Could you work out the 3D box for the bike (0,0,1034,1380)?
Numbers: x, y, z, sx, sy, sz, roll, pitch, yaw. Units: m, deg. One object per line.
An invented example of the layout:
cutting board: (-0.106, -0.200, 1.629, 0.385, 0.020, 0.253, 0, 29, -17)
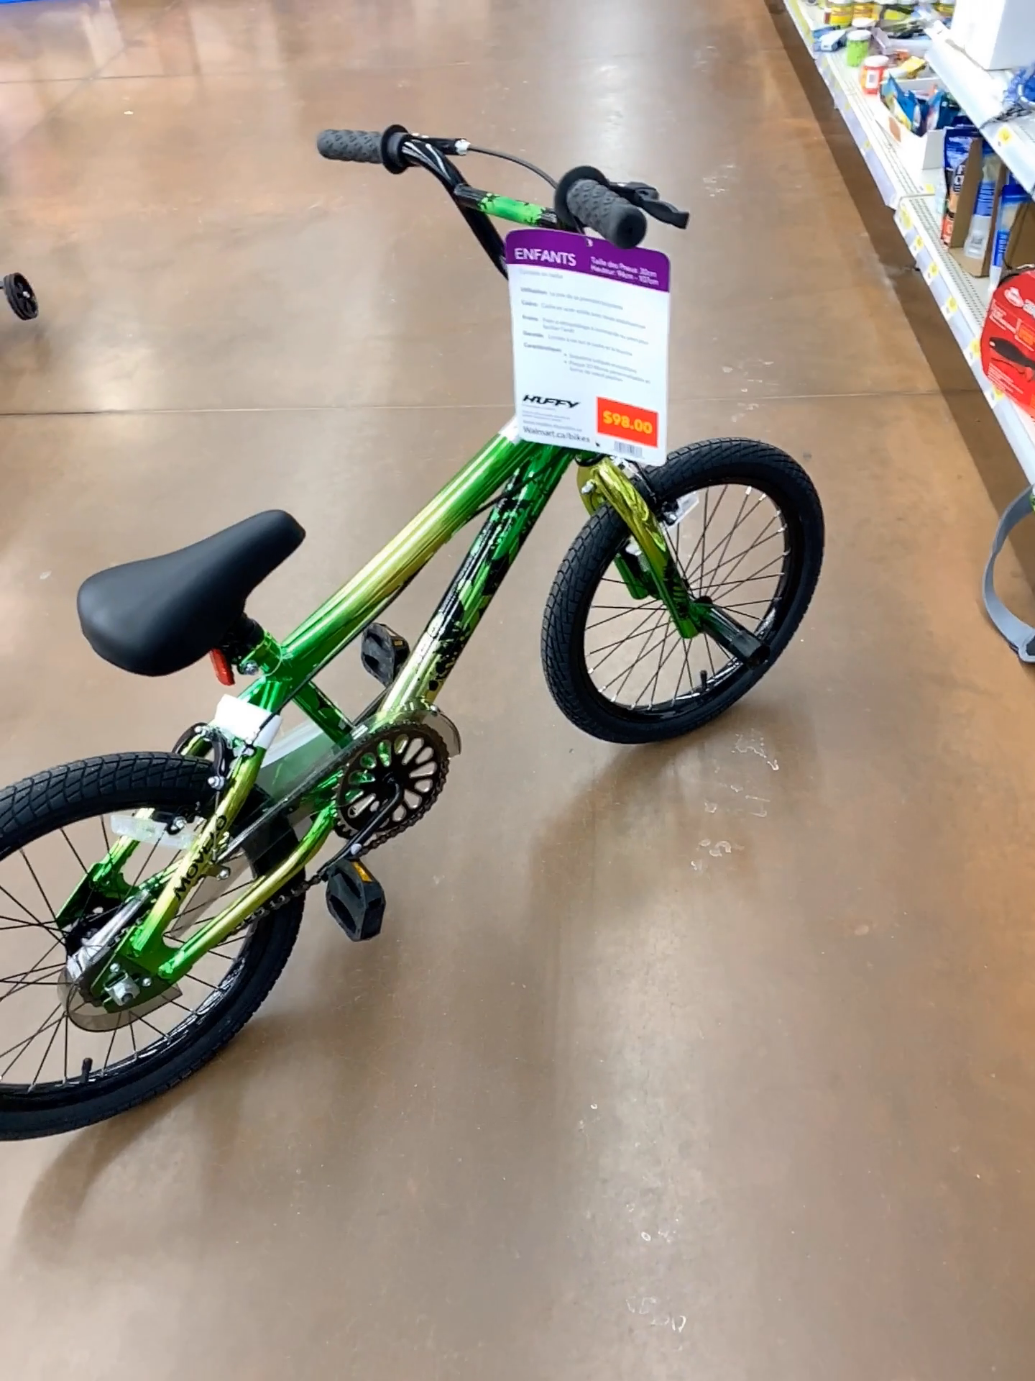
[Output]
bike: (-0.014, -0.091, 1.123, 1.407, 1.034, 0.720, -32, 49, -18)
